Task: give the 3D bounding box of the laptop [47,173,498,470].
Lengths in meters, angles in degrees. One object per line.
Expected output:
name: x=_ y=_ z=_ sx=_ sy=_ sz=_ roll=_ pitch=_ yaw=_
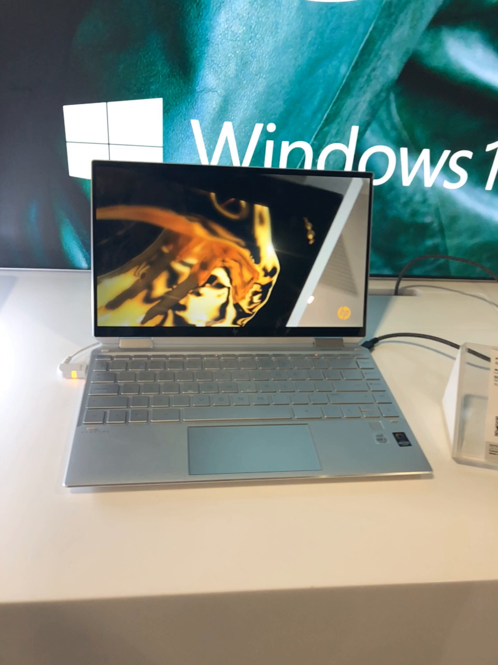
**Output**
laptop: x=0.000 y=-0.022 z=0.492 sx=0.281 sy=0.194 sz=0.241 roll=1 pitch=26 yaw=-9
